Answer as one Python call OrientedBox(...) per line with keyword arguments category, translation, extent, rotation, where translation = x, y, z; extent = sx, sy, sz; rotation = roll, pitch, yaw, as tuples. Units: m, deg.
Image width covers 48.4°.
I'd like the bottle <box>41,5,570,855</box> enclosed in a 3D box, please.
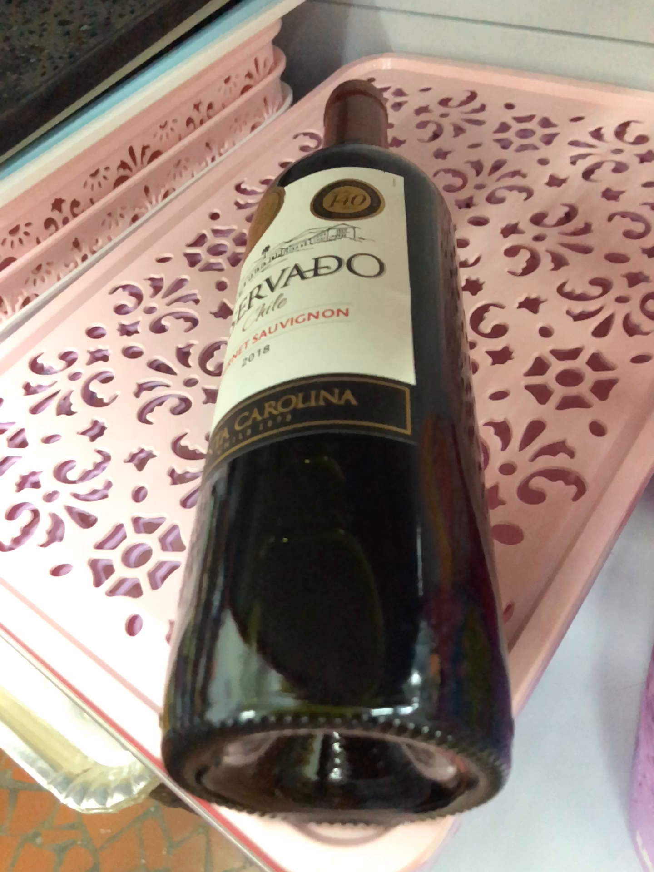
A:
OrientedBox(category="bottle", translation=(0.010, -0.054, 0.244), extent=(0.080, 0.060, 0.332), rotation=(-5, 45, 10))
